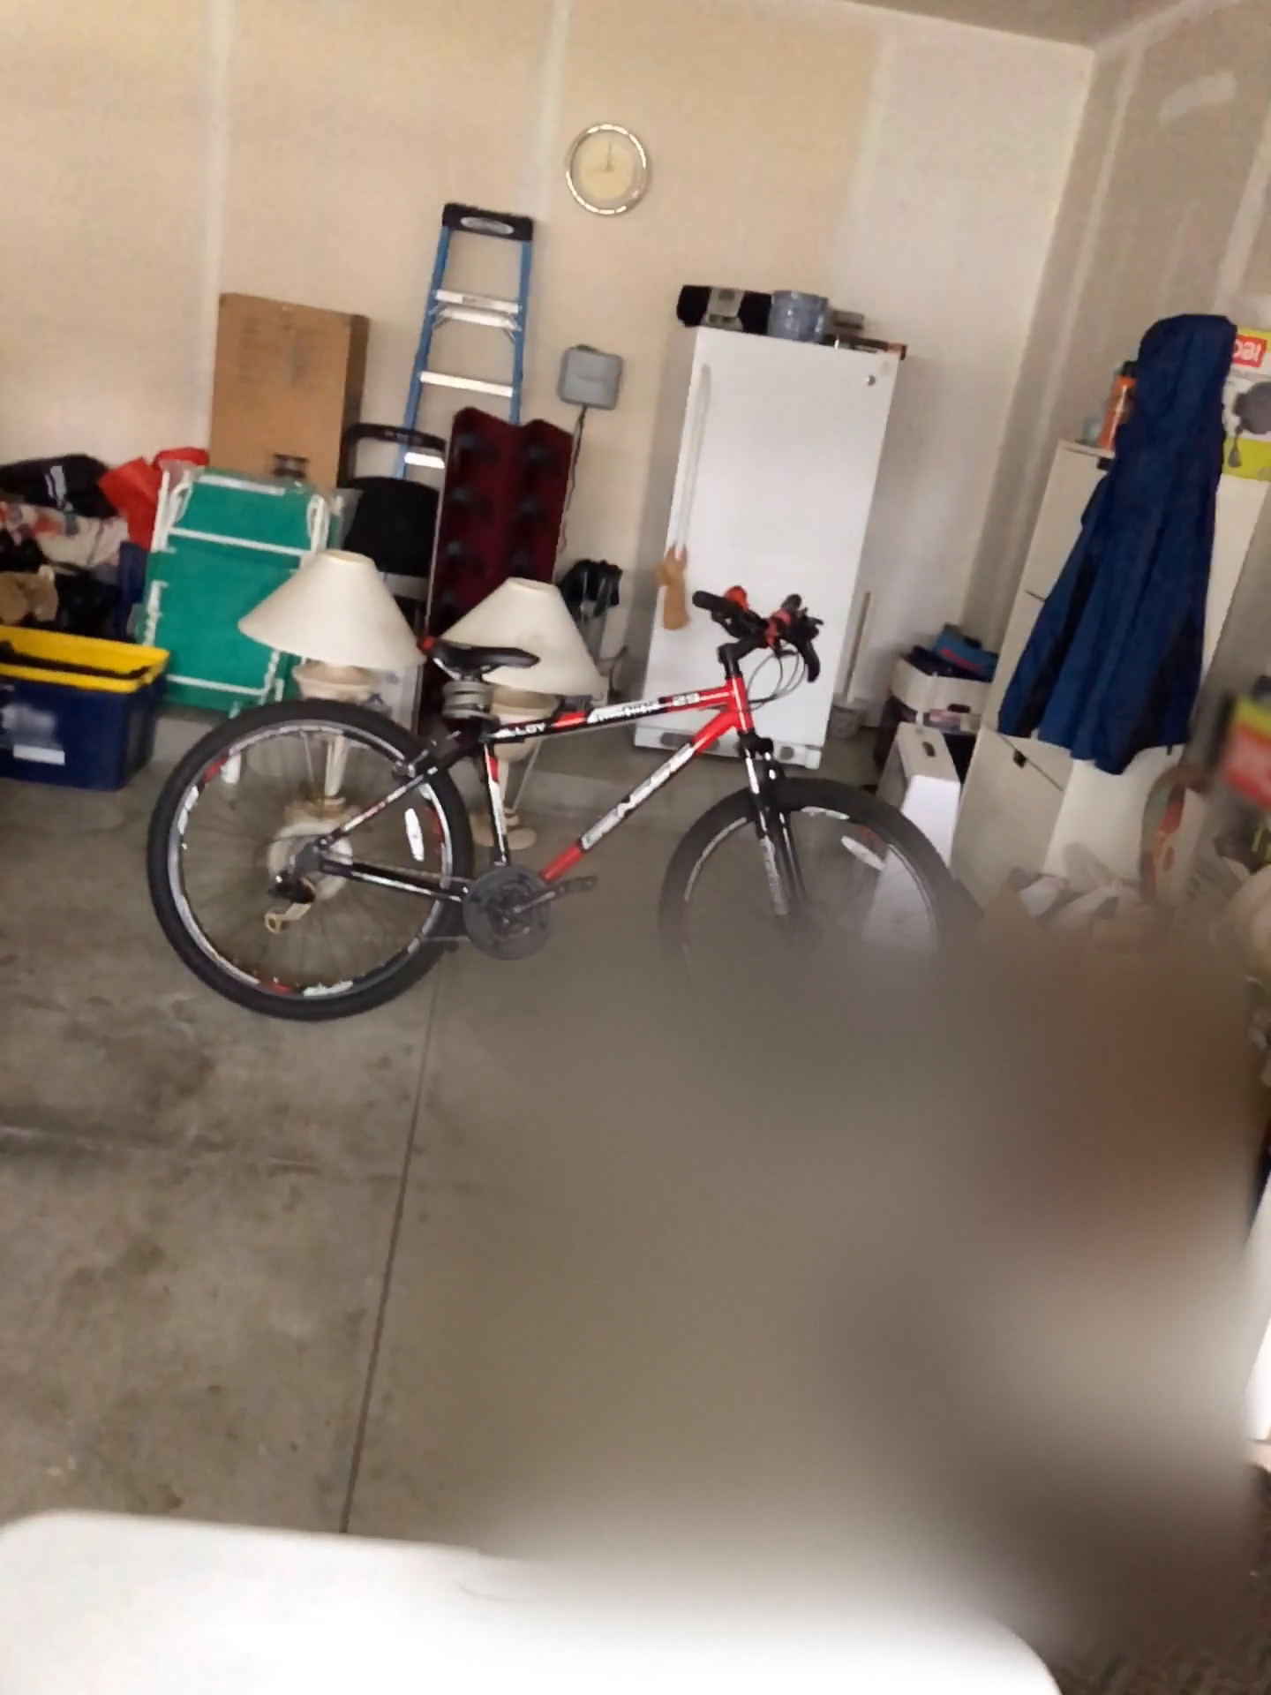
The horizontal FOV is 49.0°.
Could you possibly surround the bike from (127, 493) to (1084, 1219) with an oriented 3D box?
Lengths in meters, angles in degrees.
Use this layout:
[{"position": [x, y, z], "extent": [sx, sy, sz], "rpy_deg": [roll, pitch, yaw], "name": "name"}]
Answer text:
[{"position": [-0.157, -0.027, 2.898], "extent": [1.668, 1.054, 0.591], "rpy_deg": [10, 18, 2], "name": "bike"}]
